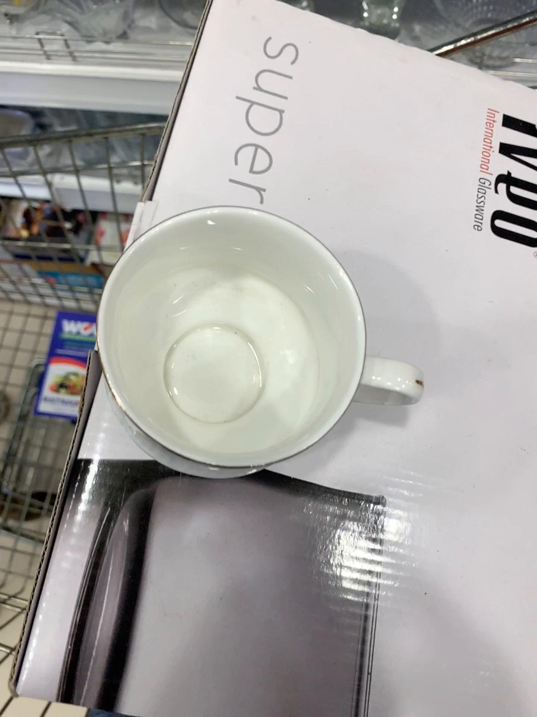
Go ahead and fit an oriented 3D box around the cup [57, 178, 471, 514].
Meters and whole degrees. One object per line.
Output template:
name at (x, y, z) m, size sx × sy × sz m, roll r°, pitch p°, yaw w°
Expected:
cup at (-0.001, 0.003, 0.153) m, size 0.090 × 0.050 × 0.060 m, roll 14°, pitch 75°, yaw -12°
